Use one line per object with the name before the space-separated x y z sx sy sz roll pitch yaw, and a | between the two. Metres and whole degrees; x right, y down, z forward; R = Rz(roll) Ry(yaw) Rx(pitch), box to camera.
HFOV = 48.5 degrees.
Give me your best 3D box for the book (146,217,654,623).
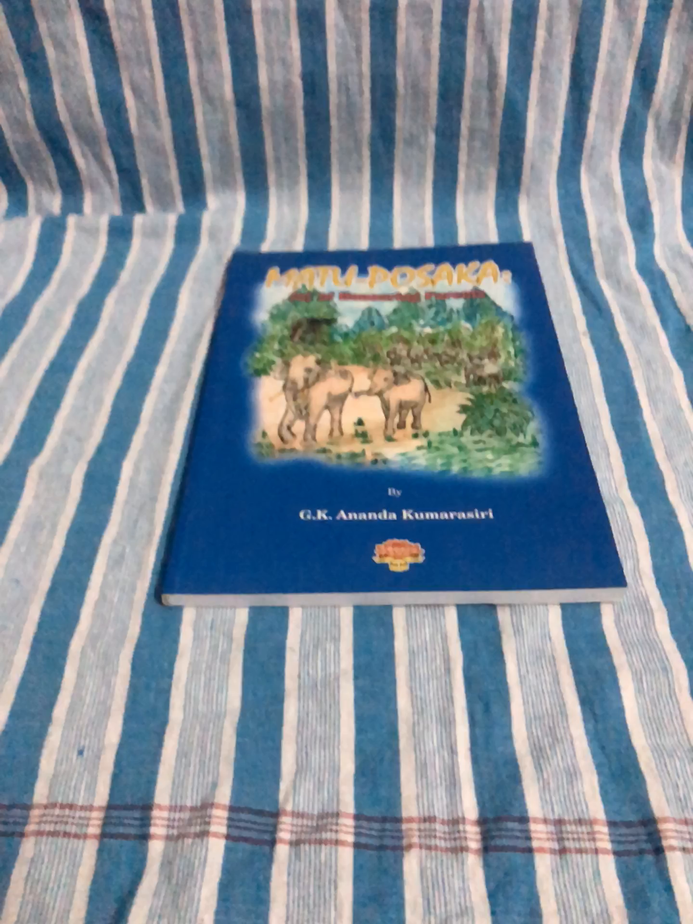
book | 0.020 -0.036 0.343 0.170 0.020 0.231 -1 47 4
